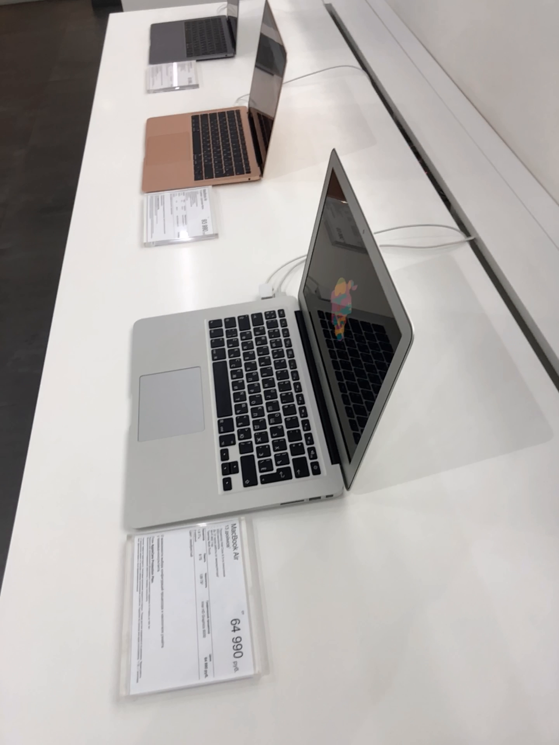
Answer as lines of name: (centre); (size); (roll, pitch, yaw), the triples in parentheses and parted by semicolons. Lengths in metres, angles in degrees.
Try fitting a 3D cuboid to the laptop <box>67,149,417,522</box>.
laptop: (-0.042, -0.052, 0.652); (0.270, 0.207, 0.317); (-8, 45, -2)
